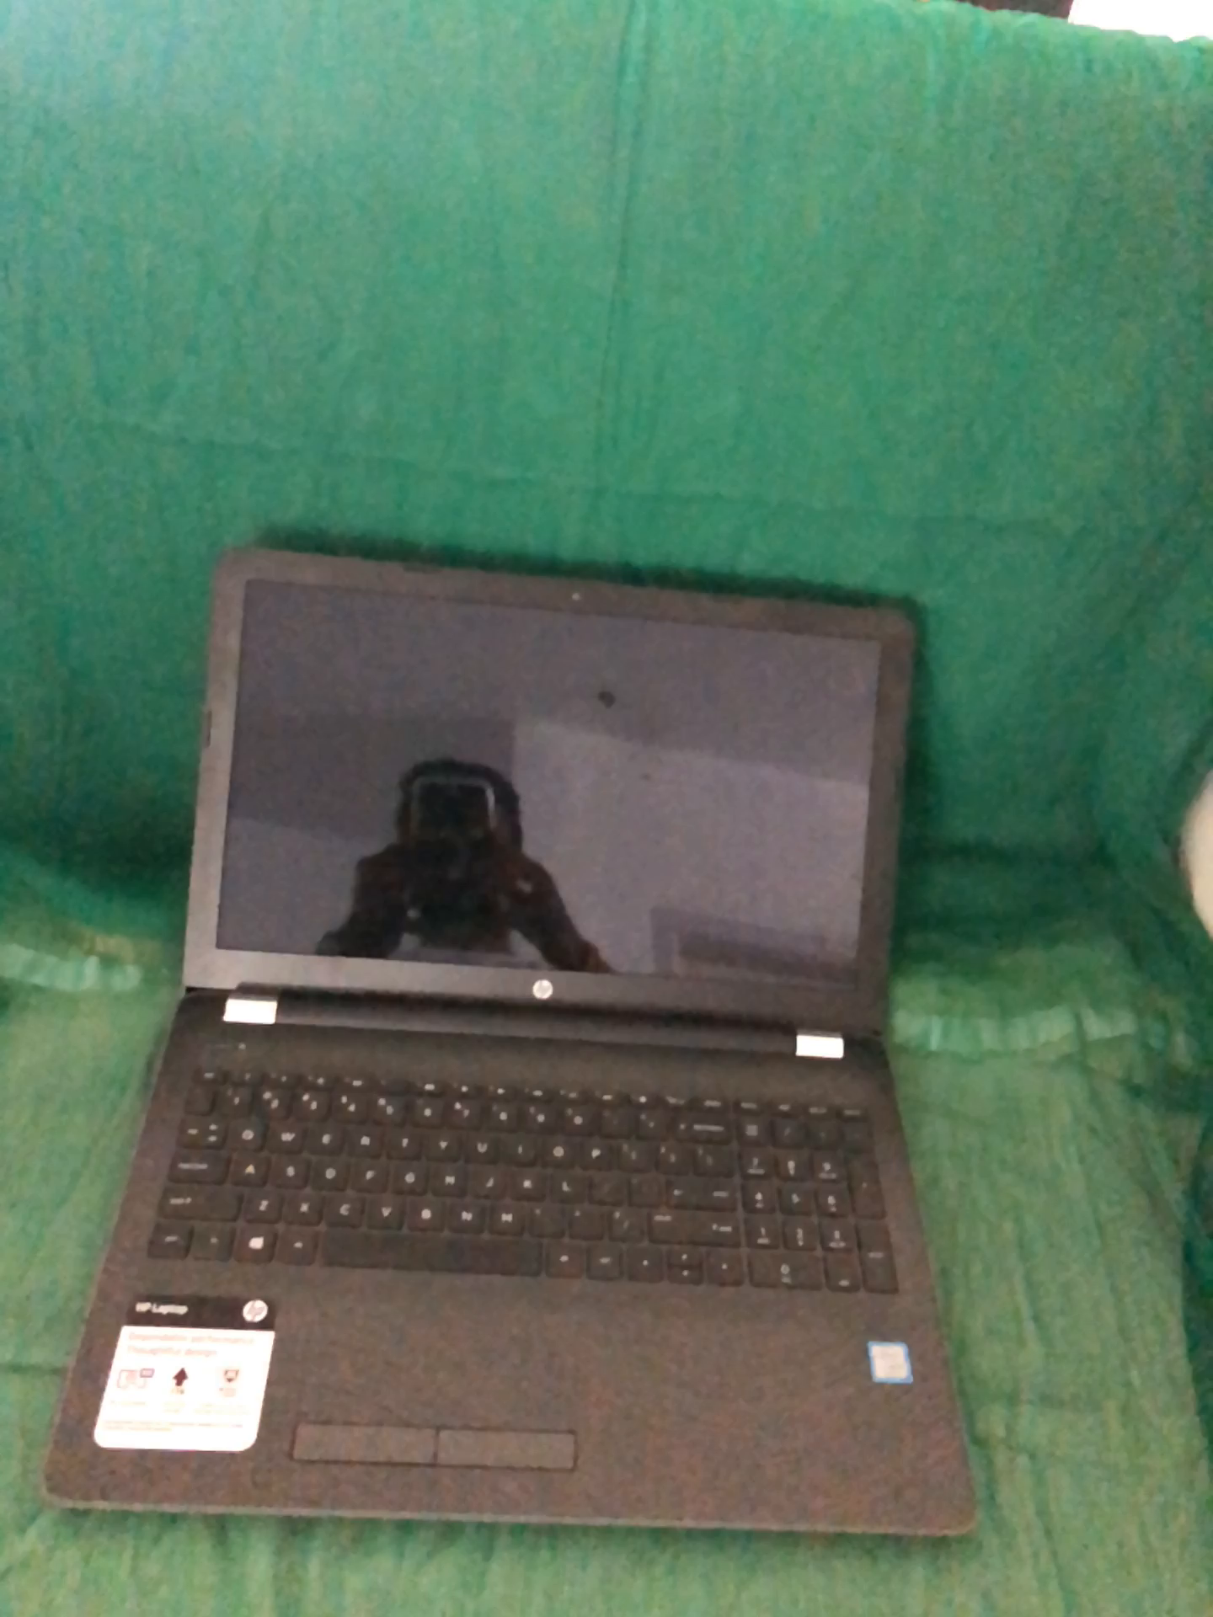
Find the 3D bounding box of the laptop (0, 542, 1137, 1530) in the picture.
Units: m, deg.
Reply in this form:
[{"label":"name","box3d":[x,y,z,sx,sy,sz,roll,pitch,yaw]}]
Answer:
[{"label":"laptop","box3d":[-0.023,0.079,0.636,0.378,0.179,0.417,5,43,-4]}]
